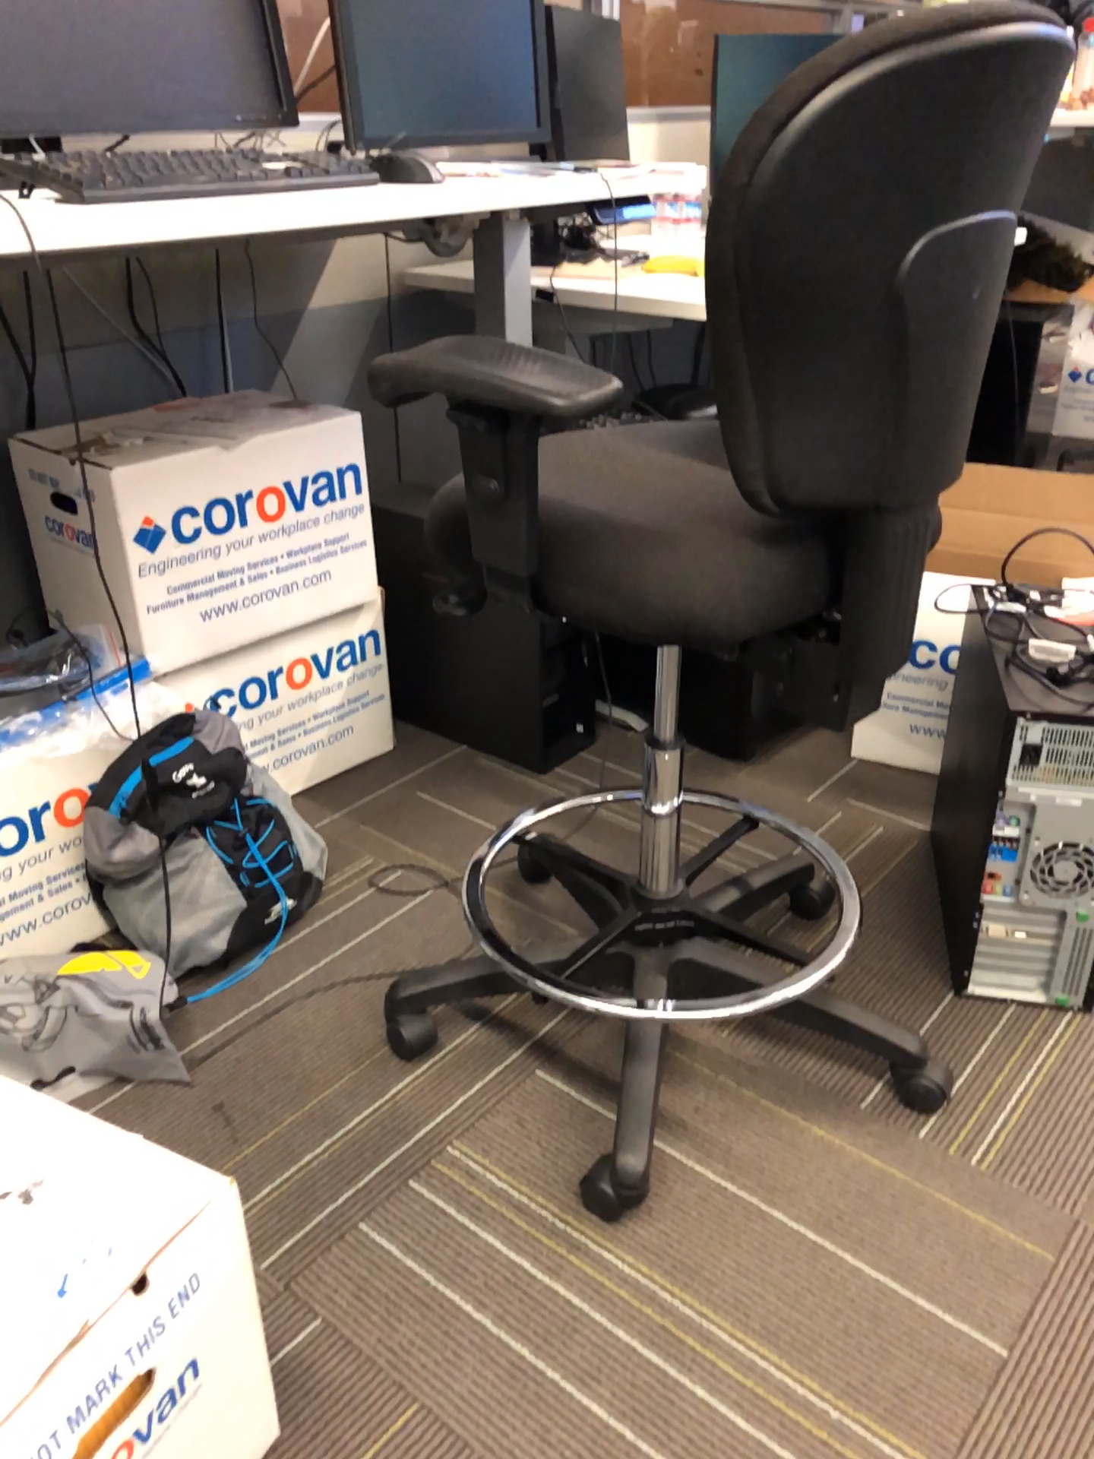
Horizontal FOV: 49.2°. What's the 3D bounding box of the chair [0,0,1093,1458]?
[{"bbox_3d":[0.049,-0.134,1.273,0.962,1.104,0.893,19,33,33],"label":"chair"}]
